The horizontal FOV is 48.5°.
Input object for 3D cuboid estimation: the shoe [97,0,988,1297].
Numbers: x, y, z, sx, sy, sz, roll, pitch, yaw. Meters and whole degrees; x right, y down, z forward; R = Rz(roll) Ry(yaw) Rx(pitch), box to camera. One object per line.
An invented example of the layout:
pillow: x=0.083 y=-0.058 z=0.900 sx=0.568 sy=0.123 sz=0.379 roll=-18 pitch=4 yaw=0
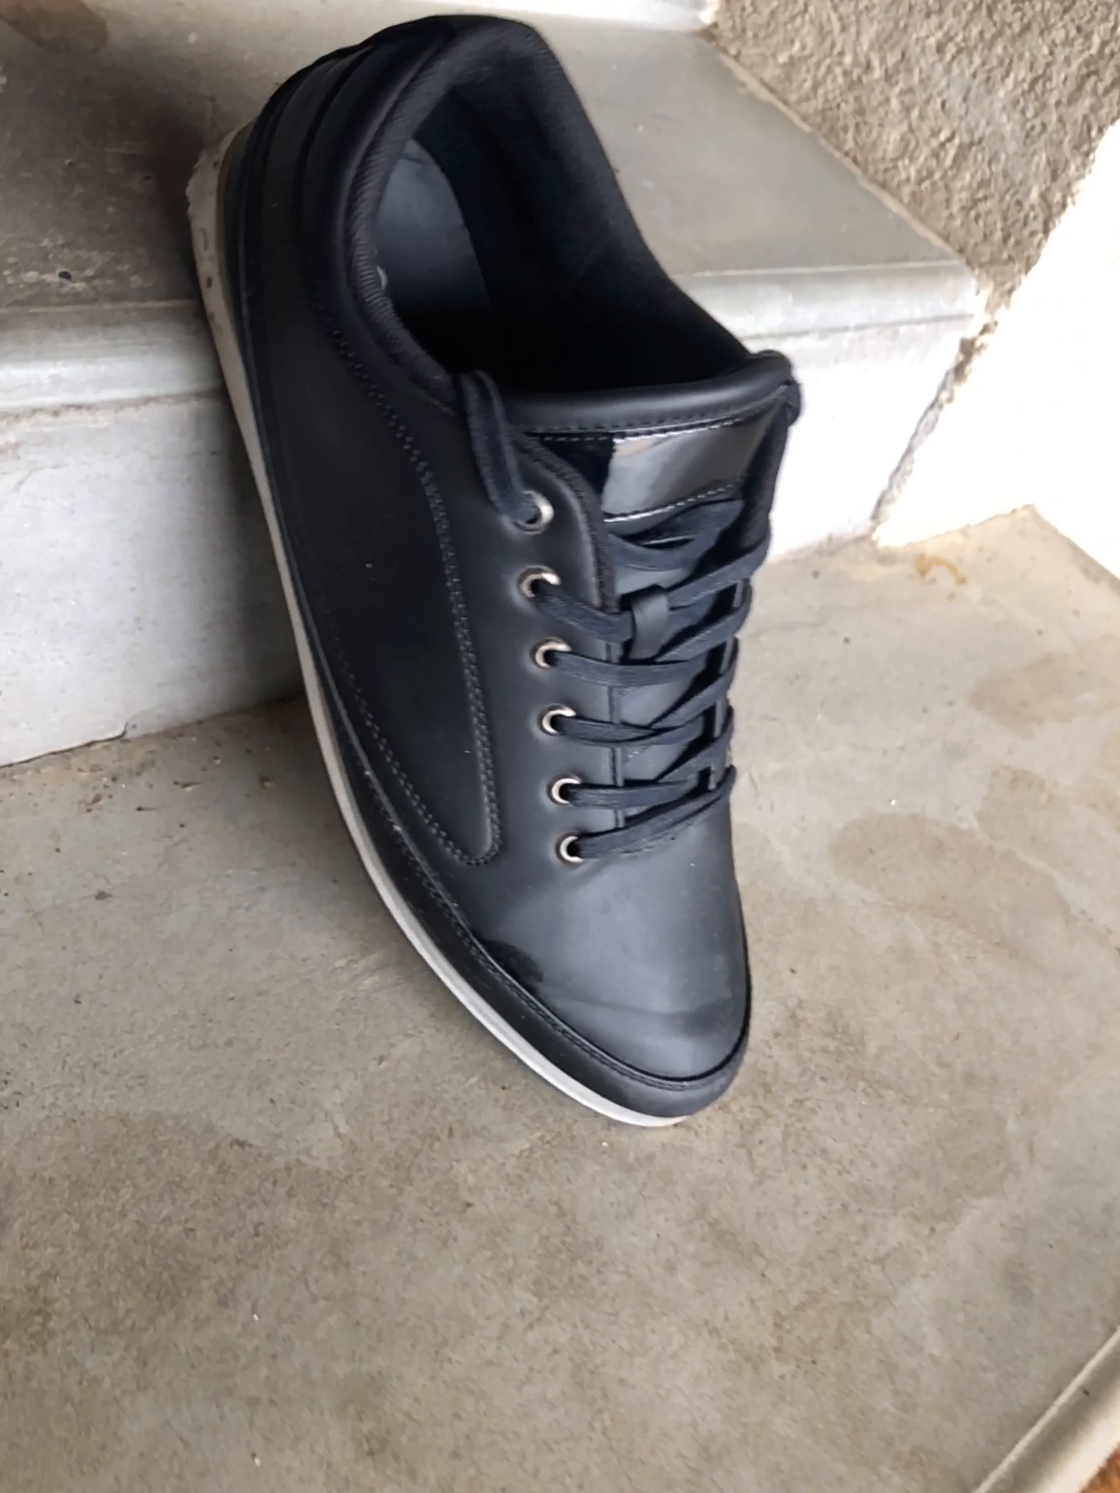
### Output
shoe: x=0.003 y=-0.035 z=0.327 sx=0.131 sy=0.090 sz=0.290 roll=-21 pitch=98 yaw=-39
